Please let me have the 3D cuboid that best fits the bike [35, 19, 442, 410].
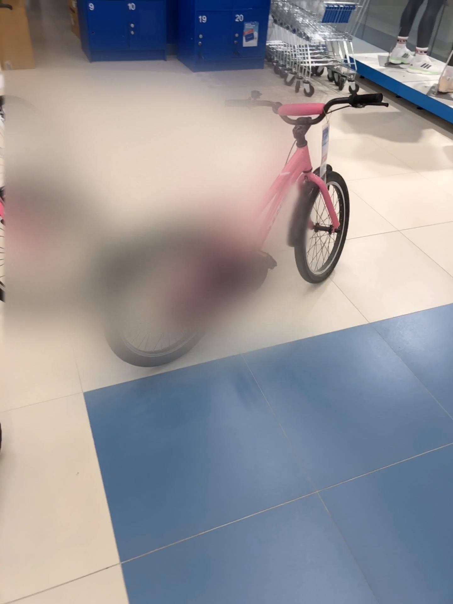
[{"bbox_3d":[0.090,-0.416,1.846,0.557,0.834,1.301,34,51,32],"label":"bike"}]
